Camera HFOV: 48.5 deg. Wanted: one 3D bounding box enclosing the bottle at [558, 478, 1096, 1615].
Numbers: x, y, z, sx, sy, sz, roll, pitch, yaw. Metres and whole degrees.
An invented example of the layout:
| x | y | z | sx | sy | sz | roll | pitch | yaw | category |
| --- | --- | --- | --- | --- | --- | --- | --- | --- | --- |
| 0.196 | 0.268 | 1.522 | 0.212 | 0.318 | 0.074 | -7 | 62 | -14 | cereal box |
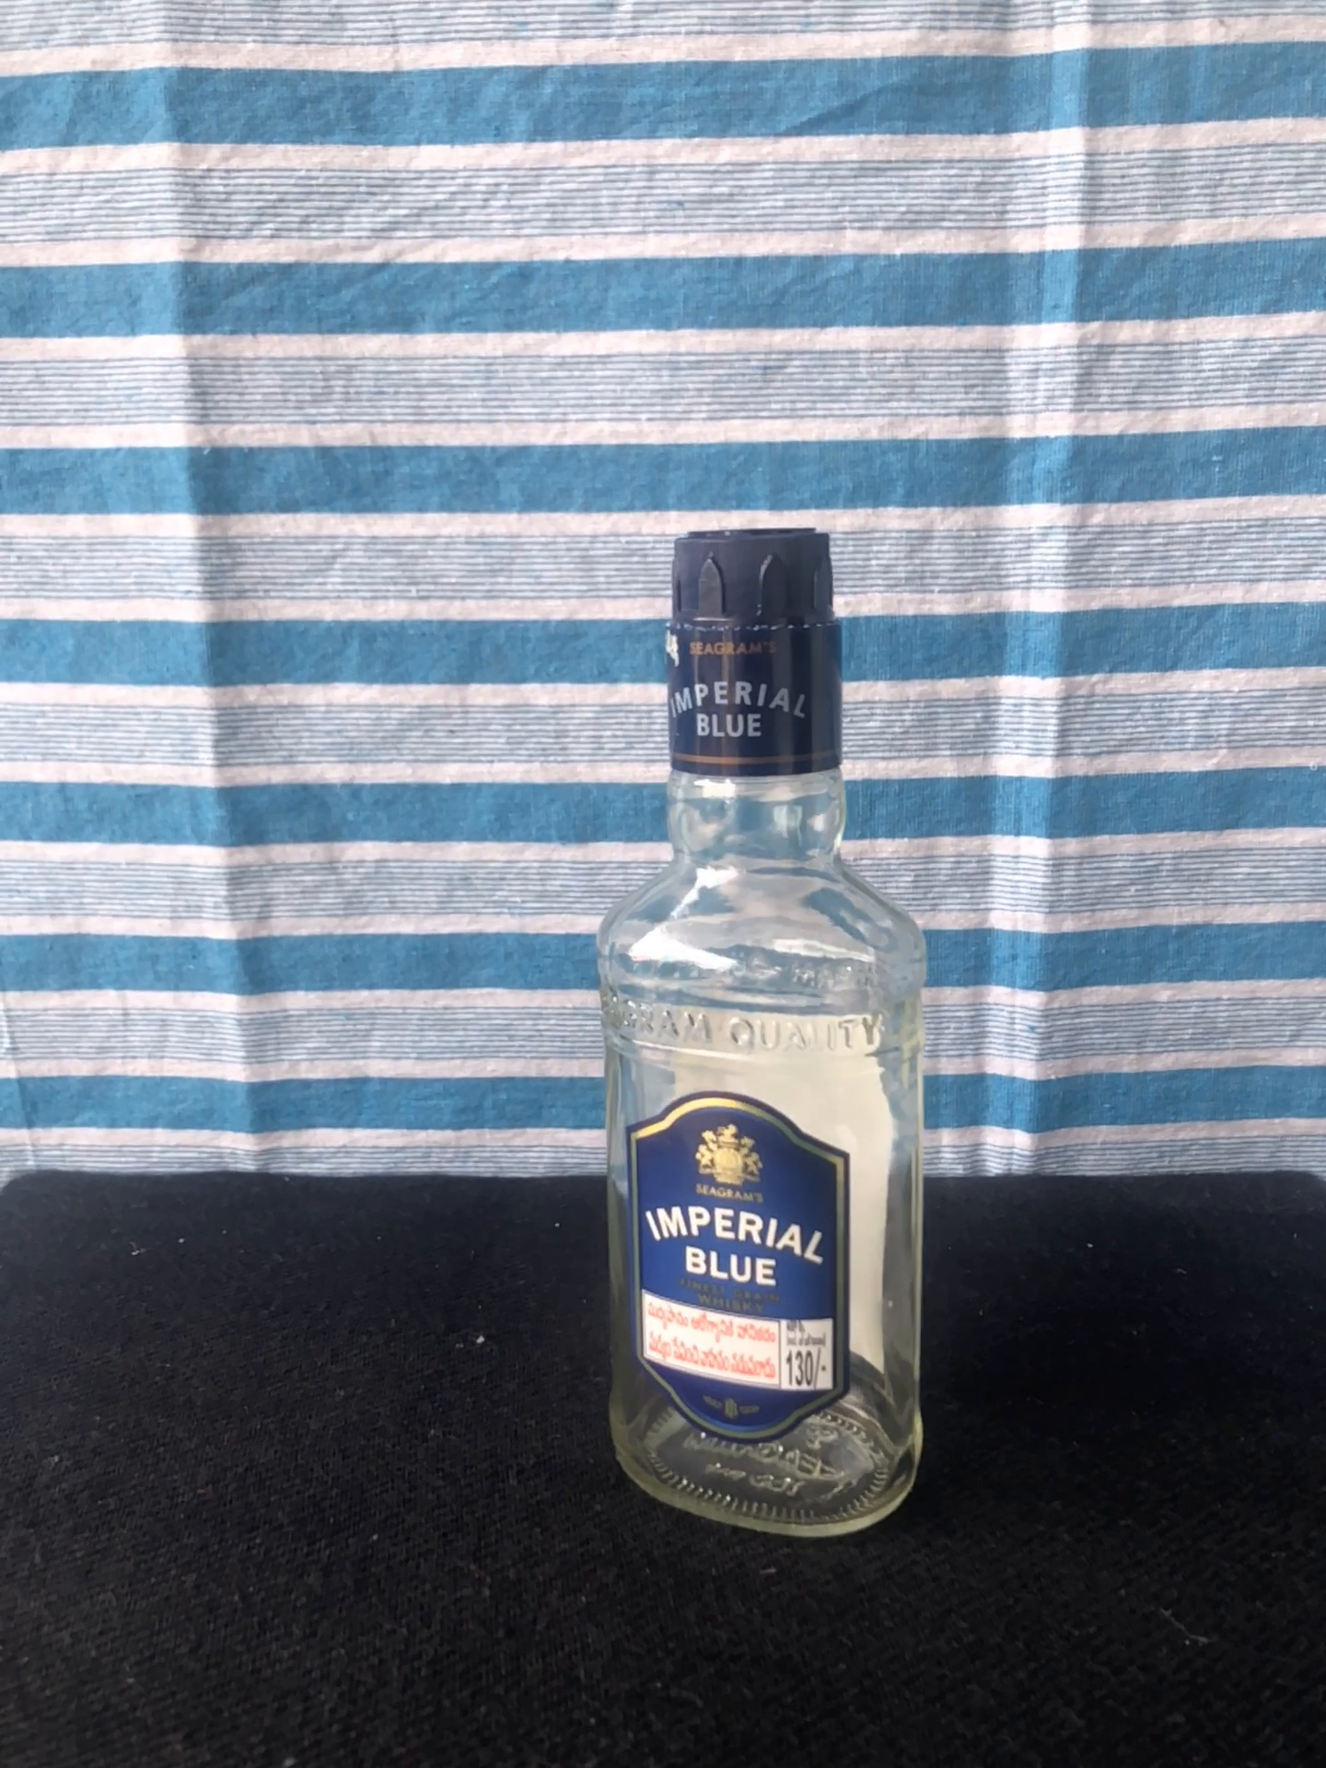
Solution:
| x | y | z | sx | sy | sz | roll | pitch | yaw | category |
| --- | --- | --- | --- | --- | --- | --- | --- | --- | --- |
| 0.025 | 0.022 | 0.242 | 0.070 | 0.169 | 0.050 | 6 | 15 | 20 | bottle |
